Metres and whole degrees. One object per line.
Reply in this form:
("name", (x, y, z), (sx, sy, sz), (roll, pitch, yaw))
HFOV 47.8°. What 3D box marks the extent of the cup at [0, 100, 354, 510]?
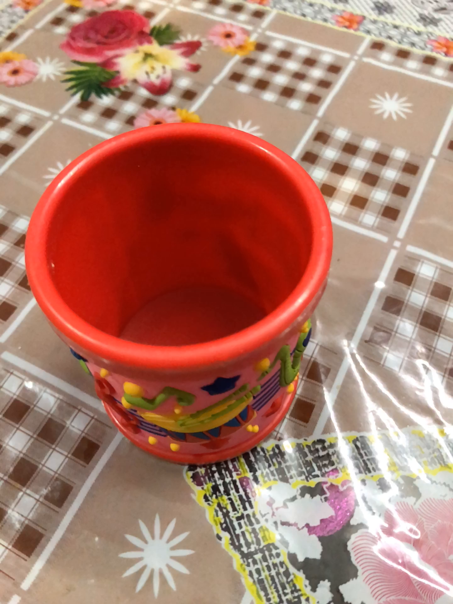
("cup", (-0.015, 0.007, 0.172), (0.080, 0.099, 0.080), (0, 58, 0))
